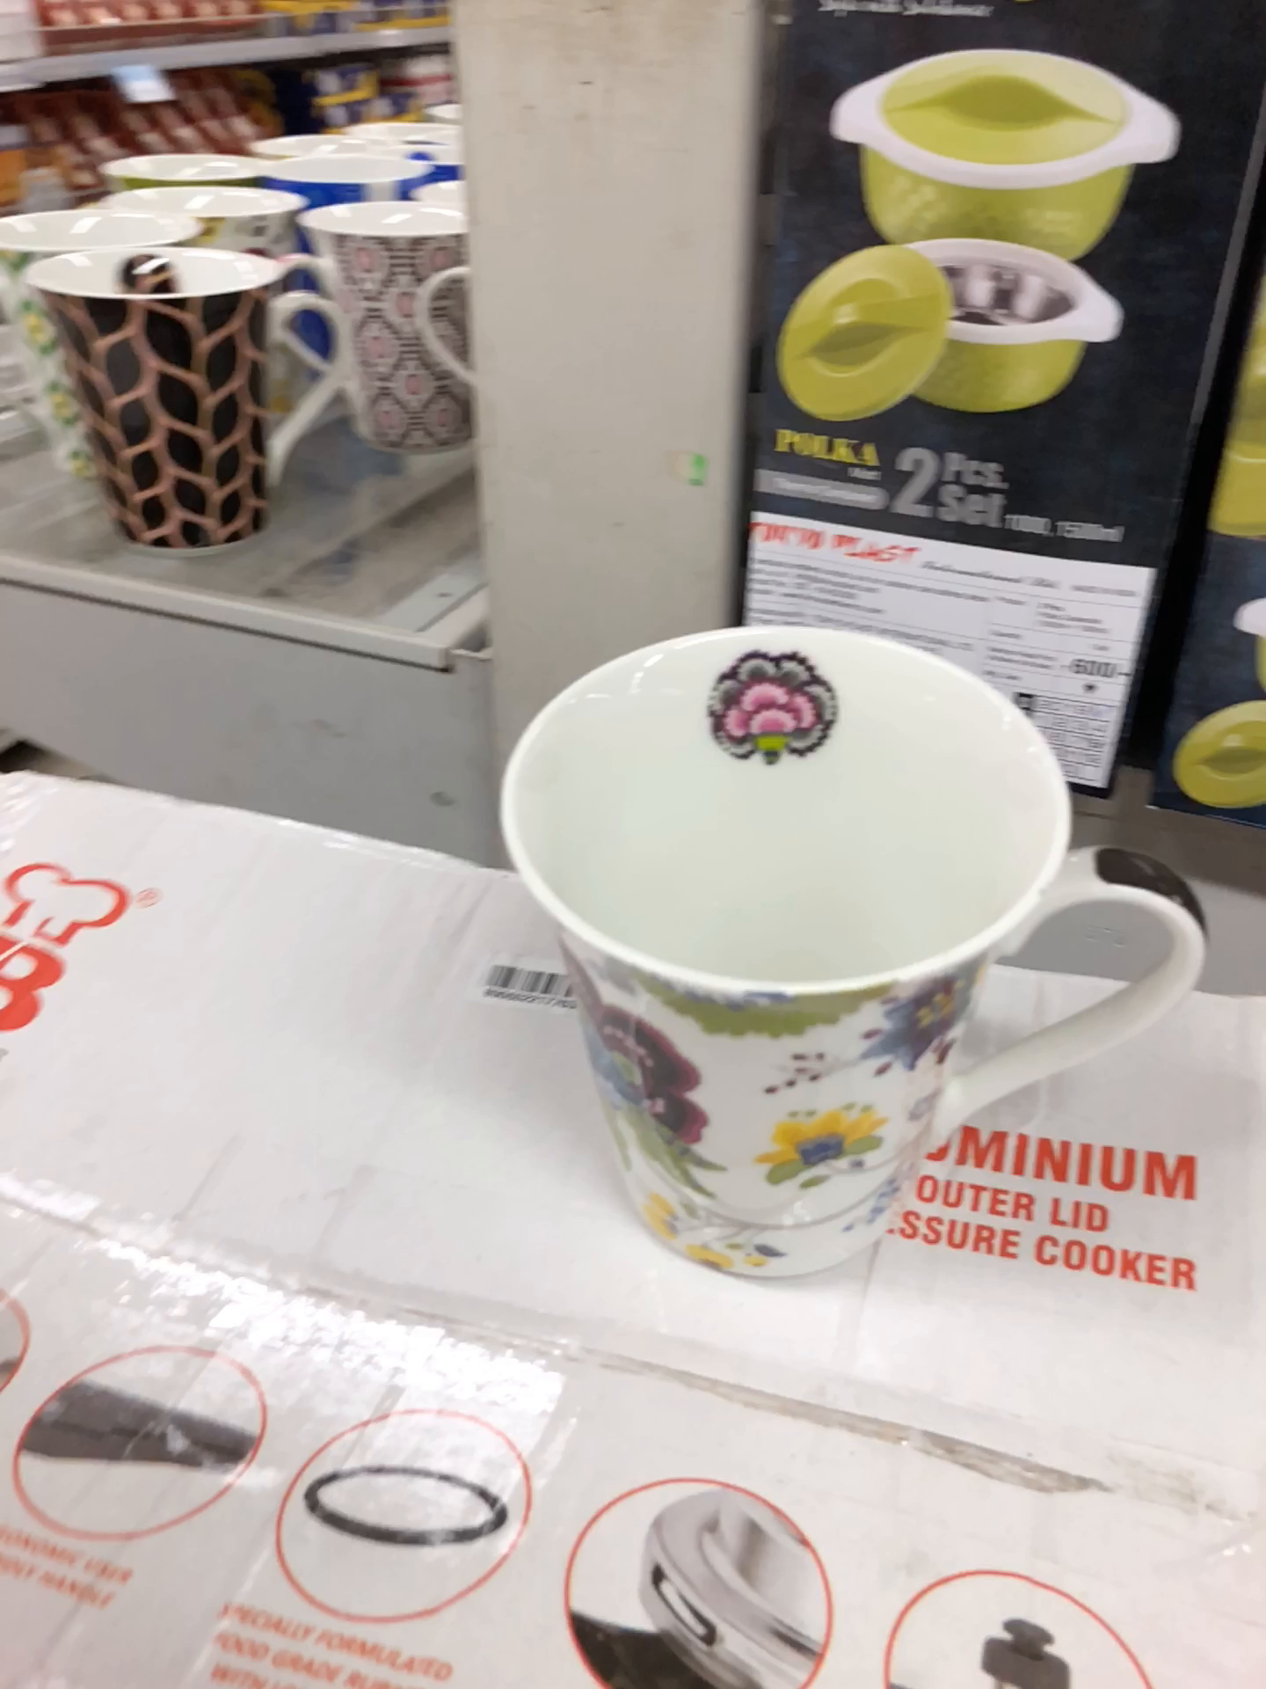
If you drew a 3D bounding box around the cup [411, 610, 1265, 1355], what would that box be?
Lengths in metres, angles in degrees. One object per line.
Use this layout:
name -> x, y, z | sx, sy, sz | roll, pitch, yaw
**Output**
cup -> 0.036, 0.023, 0.242 | 0.120, 0.089, 0.081 | 4, 44, 6
